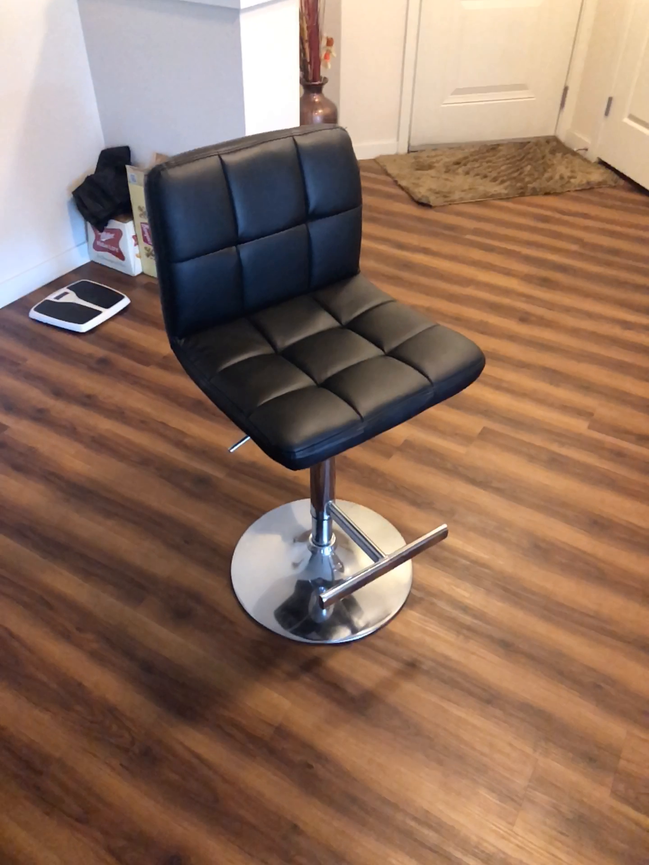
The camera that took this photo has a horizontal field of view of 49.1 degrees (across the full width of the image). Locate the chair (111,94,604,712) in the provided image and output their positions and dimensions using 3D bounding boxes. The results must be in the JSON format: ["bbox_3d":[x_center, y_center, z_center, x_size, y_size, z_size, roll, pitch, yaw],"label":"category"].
[{"bbox_3d":[0.028,-0.057,1.413,0.535,0.952,0.570,-24,46,-27],"label":"chair"}]
